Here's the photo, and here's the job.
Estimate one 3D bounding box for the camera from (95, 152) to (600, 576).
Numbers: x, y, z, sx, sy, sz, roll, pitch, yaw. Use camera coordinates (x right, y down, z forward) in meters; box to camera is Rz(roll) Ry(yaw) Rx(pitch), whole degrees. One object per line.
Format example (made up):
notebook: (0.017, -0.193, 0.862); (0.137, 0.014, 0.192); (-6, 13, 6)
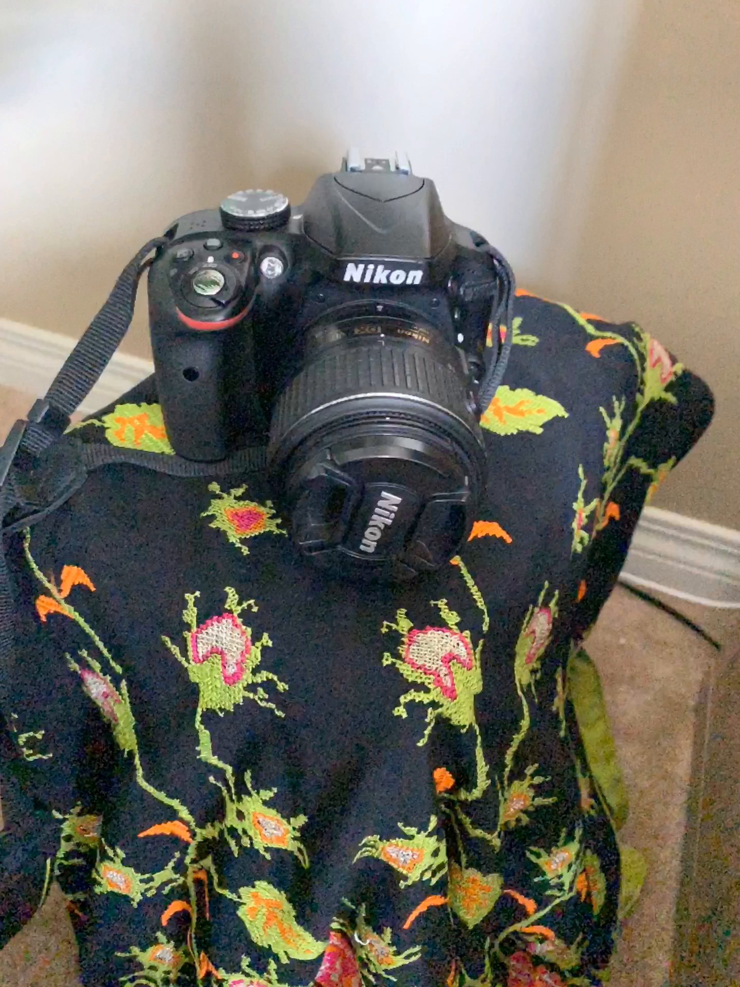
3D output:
camera: (-0.010, -0.042, 0.249); (0.120, 0.099, 0.091); (-1, 41, -6)
